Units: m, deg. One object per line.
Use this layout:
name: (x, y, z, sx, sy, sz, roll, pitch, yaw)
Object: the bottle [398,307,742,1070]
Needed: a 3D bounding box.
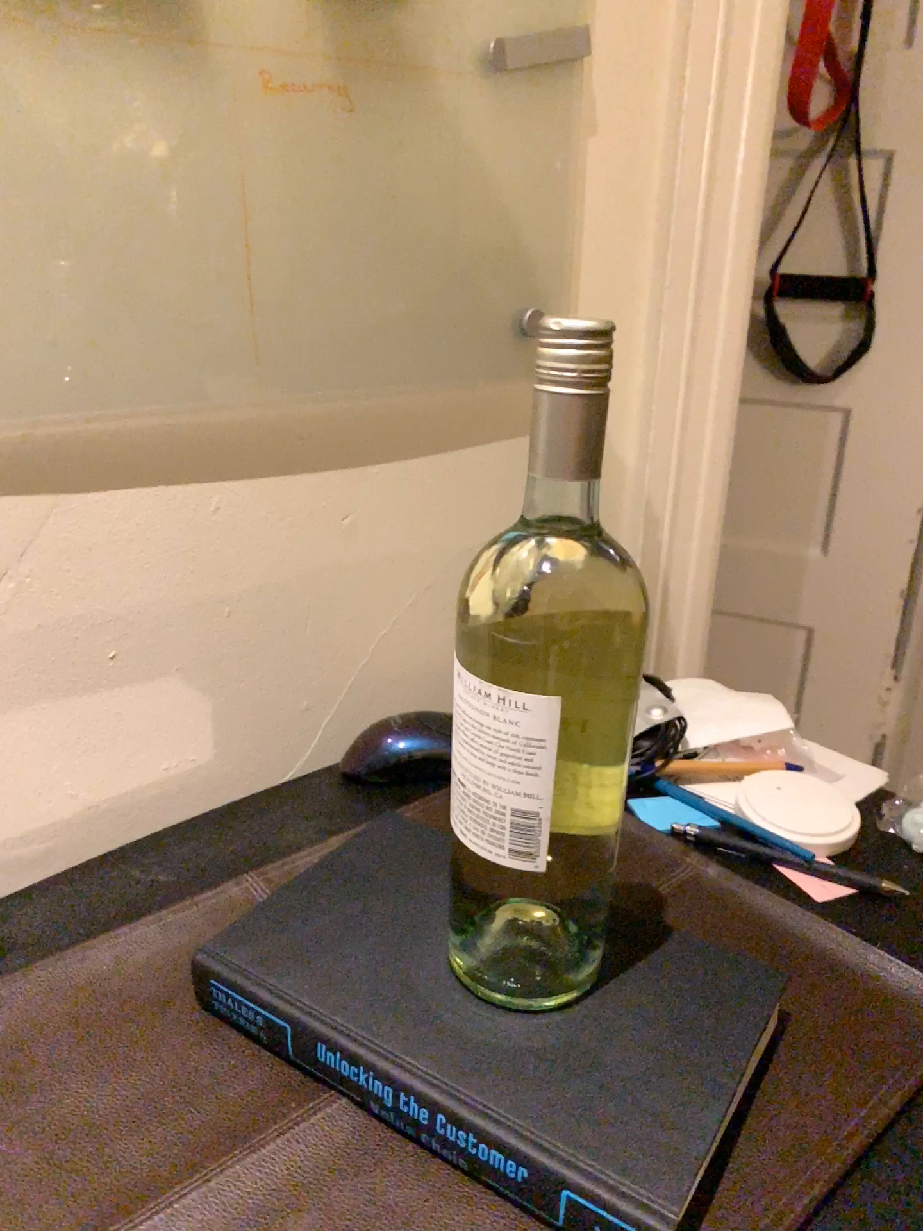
bottle: (0.037, 0.029, 0.408, 0.090, 0.298, 0.090, 1, 21, -1)
